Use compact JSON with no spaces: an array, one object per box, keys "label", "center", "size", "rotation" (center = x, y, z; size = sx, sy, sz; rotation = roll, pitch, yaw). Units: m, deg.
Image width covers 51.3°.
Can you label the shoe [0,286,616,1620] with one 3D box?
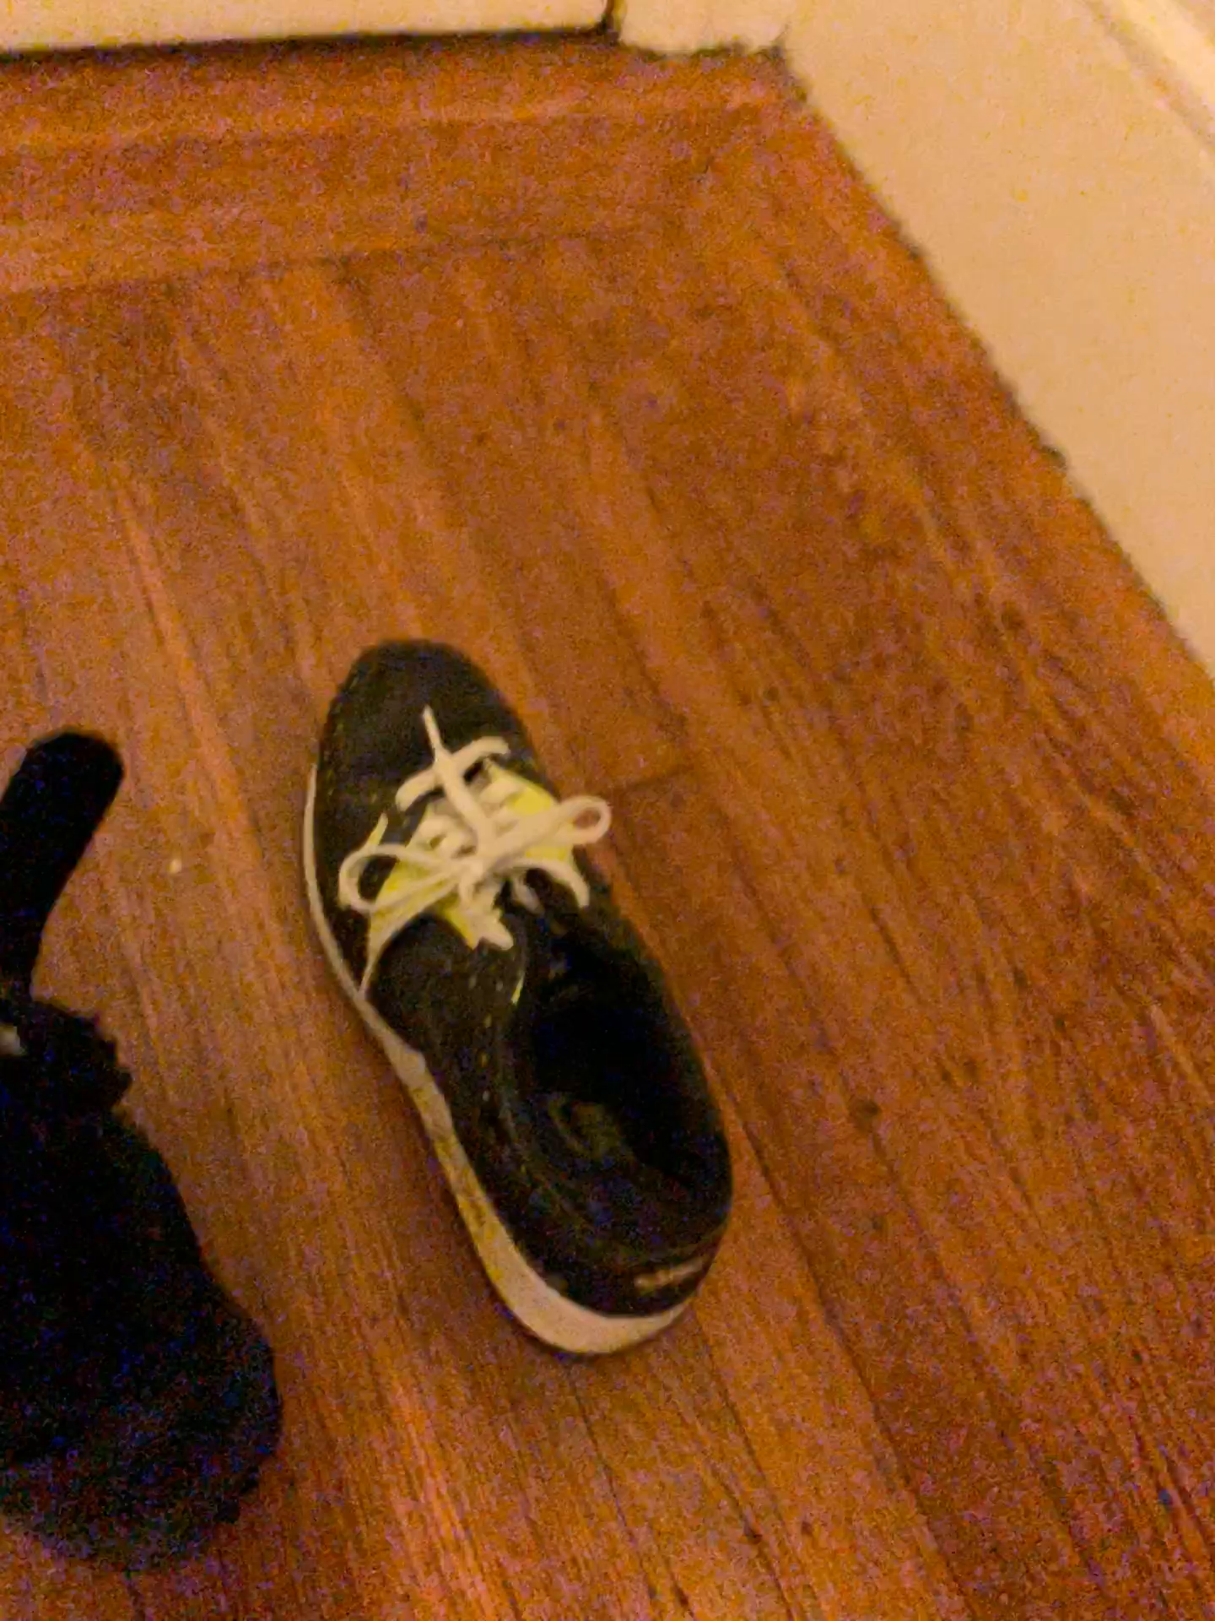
[{"label":"shoe","center":[-0.191,0.073,0.357],"size":[0.310,0.239,0.160],"rotation":[42,61,9]}]

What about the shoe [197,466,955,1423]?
[{"label":"shoe","center":[-0.028,0.036,0.437],"size":[0.120,0.100,0.290],"rotation":[-21,70,-24]}]
